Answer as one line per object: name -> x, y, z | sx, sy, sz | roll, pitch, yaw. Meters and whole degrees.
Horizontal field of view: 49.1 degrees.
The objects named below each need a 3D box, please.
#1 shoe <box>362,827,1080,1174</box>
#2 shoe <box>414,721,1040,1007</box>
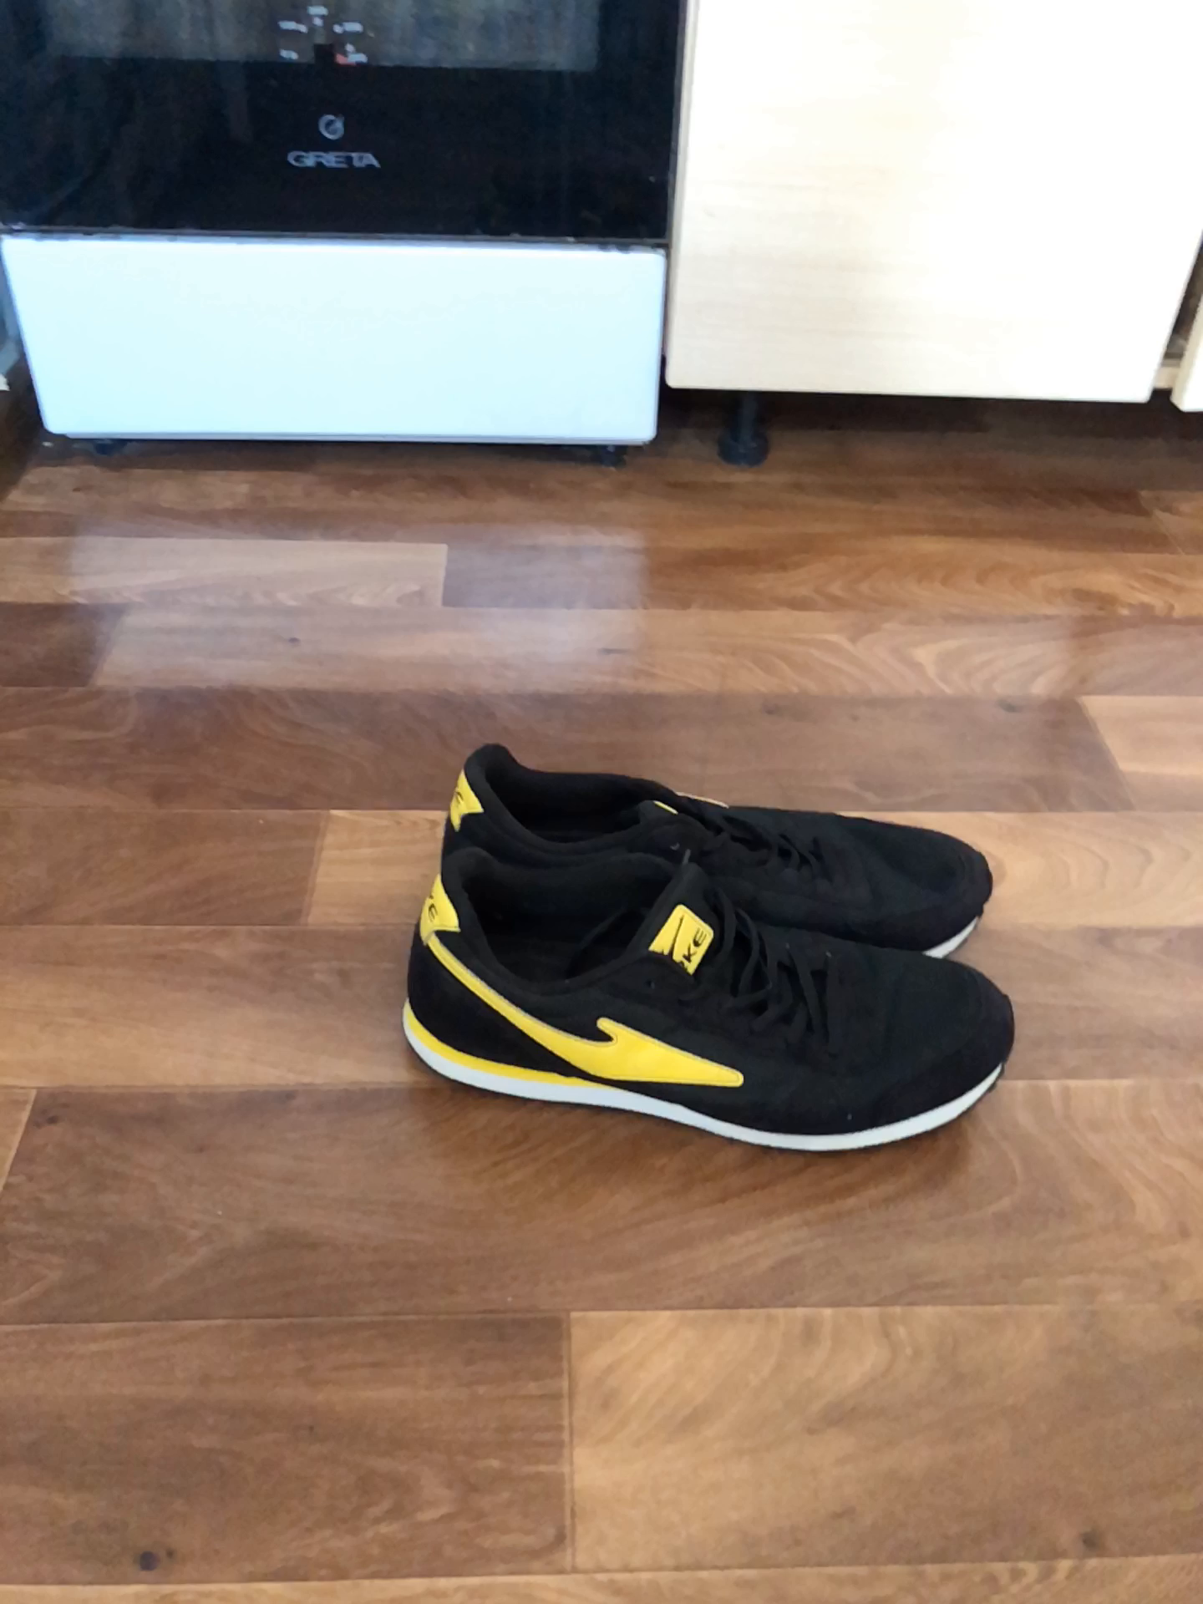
shoe -> 0.051, 0.090, 0.617 | 0.300, 0.079, 0.111 | 5, 39, 2
shoe -> 0.061, 0.031, 0.699 | 0.300, 0.079, 0.111 | 4, 39, 1
